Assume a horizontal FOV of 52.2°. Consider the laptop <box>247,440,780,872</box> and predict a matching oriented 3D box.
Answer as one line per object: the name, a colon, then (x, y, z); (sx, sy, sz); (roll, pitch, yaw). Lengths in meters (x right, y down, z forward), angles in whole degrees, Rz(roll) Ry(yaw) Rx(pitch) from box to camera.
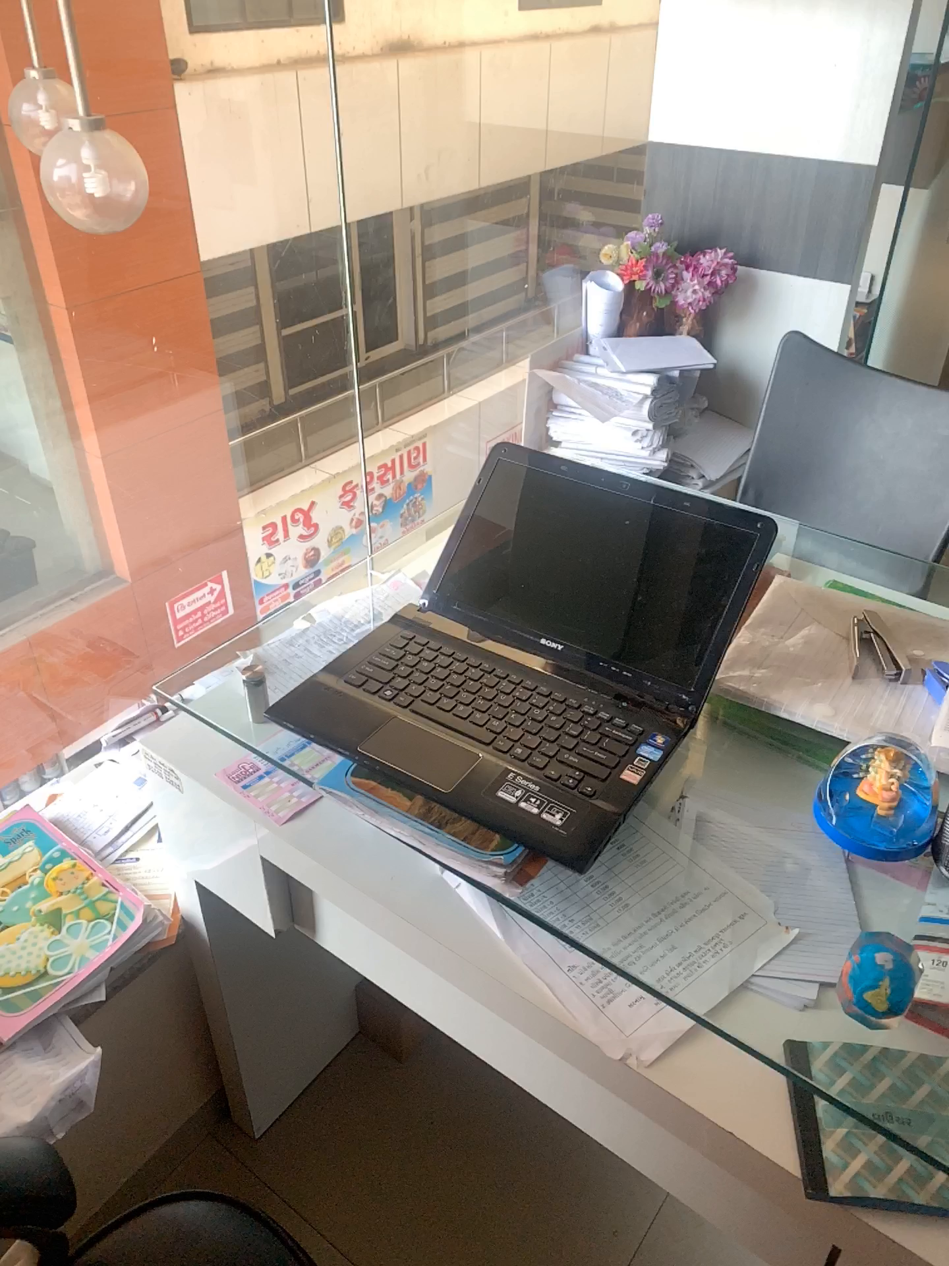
laptop: (0.046, -0.015, 0.785); (0.286, 0.111, 0.337); (21, 39, 27)
